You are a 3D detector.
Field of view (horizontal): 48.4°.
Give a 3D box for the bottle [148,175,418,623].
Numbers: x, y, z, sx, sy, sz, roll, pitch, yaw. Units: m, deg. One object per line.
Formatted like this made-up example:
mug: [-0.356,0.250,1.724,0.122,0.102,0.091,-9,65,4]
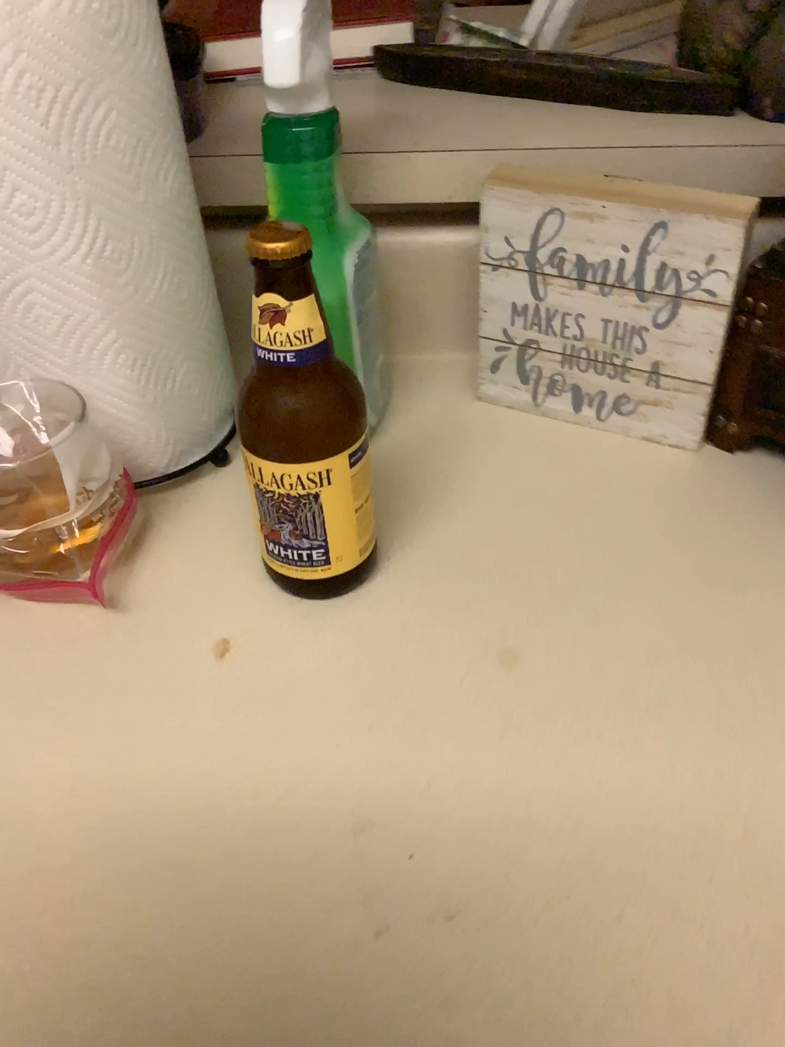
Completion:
bottle: [-0.041,-0.055,0.422,0.080,0.190,0.080,-2,39,2]
